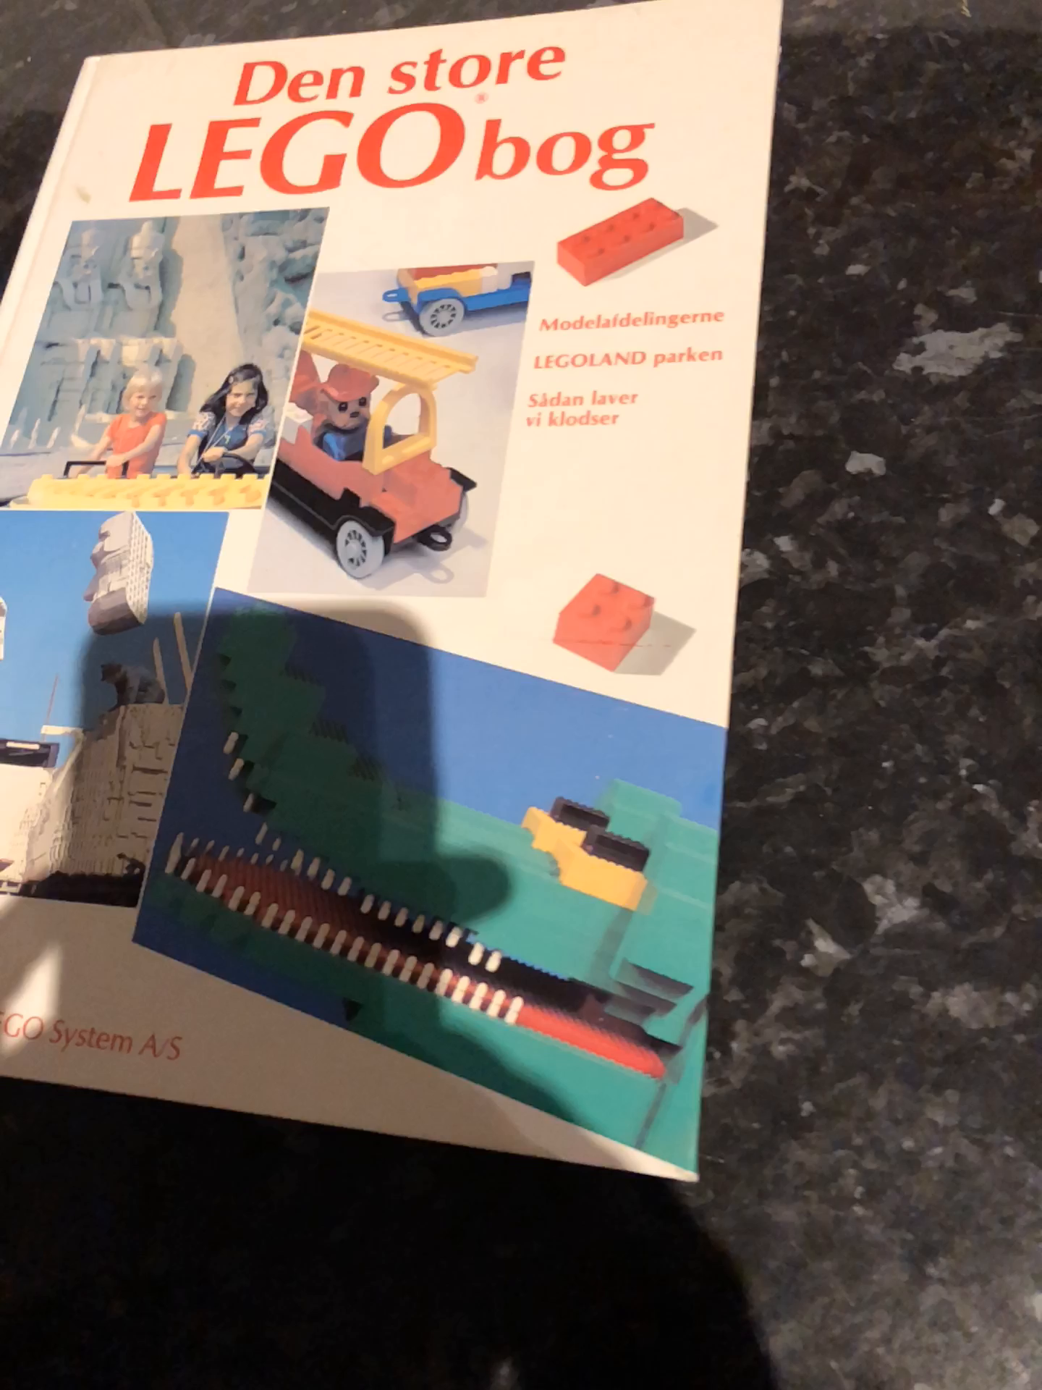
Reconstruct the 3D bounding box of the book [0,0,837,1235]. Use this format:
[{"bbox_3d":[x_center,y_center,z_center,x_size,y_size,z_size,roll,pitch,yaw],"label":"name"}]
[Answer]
[{"bbox_3d":[-0.040,-0.049,0.274,0.210,0.030,0.291,3,70,14],"label":"book"}]
